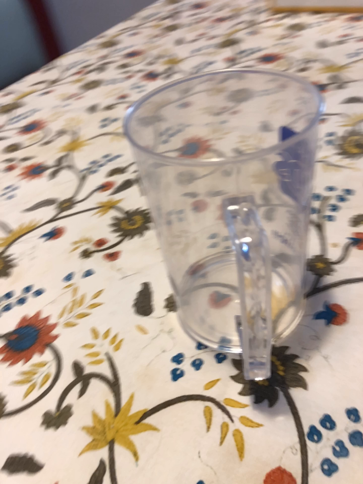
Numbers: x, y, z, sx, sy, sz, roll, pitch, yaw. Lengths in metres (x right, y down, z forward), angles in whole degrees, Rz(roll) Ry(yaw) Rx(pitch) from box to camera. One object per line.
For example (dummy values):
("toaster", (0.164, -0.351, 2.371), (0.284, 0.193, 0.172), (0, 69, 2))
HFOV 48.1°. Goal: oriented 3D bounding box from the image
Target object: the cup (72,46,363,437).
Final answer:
("cup", (0.016, -0.001, 0.174), (0.080, 0.109, 0.111), (-10, 42, 2))
